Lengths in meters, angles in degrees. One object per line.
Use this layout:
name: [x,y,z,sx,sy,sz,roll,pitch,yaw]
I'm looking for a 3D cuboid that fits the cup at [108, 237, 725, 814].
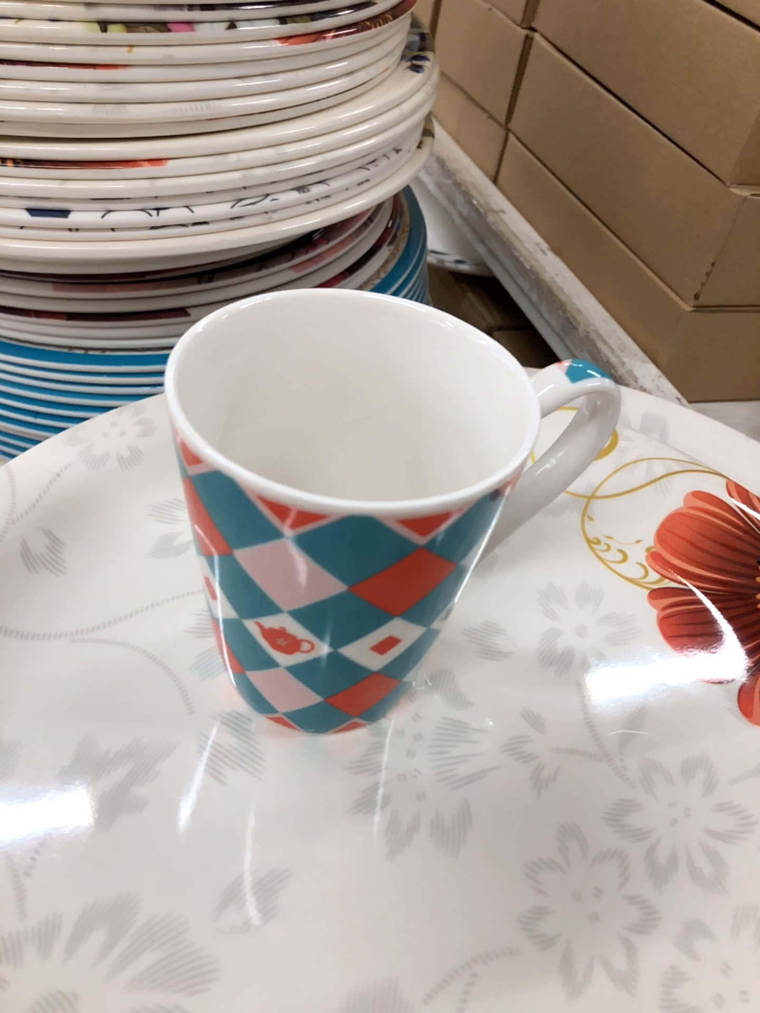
cup: [0.006,-0.002,0.238,0.131,0.099,0.080,-21,52,-31]
